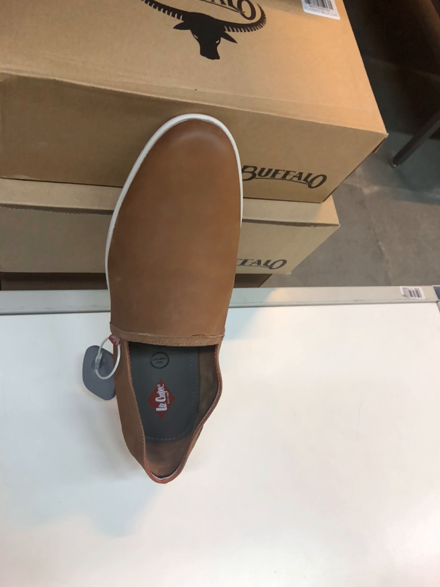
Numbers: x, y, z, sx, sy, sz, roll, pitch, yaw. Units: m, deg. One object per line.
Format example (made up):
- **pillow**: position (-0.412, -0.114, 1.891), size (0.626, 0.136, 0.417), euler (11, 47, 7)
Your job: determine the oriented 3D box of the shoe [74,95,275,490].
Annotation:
- **shoe**: position (-0.059, -0.003, 0.441), size (0.114, 0.310, 0.149), euler (4, 20, -16)
